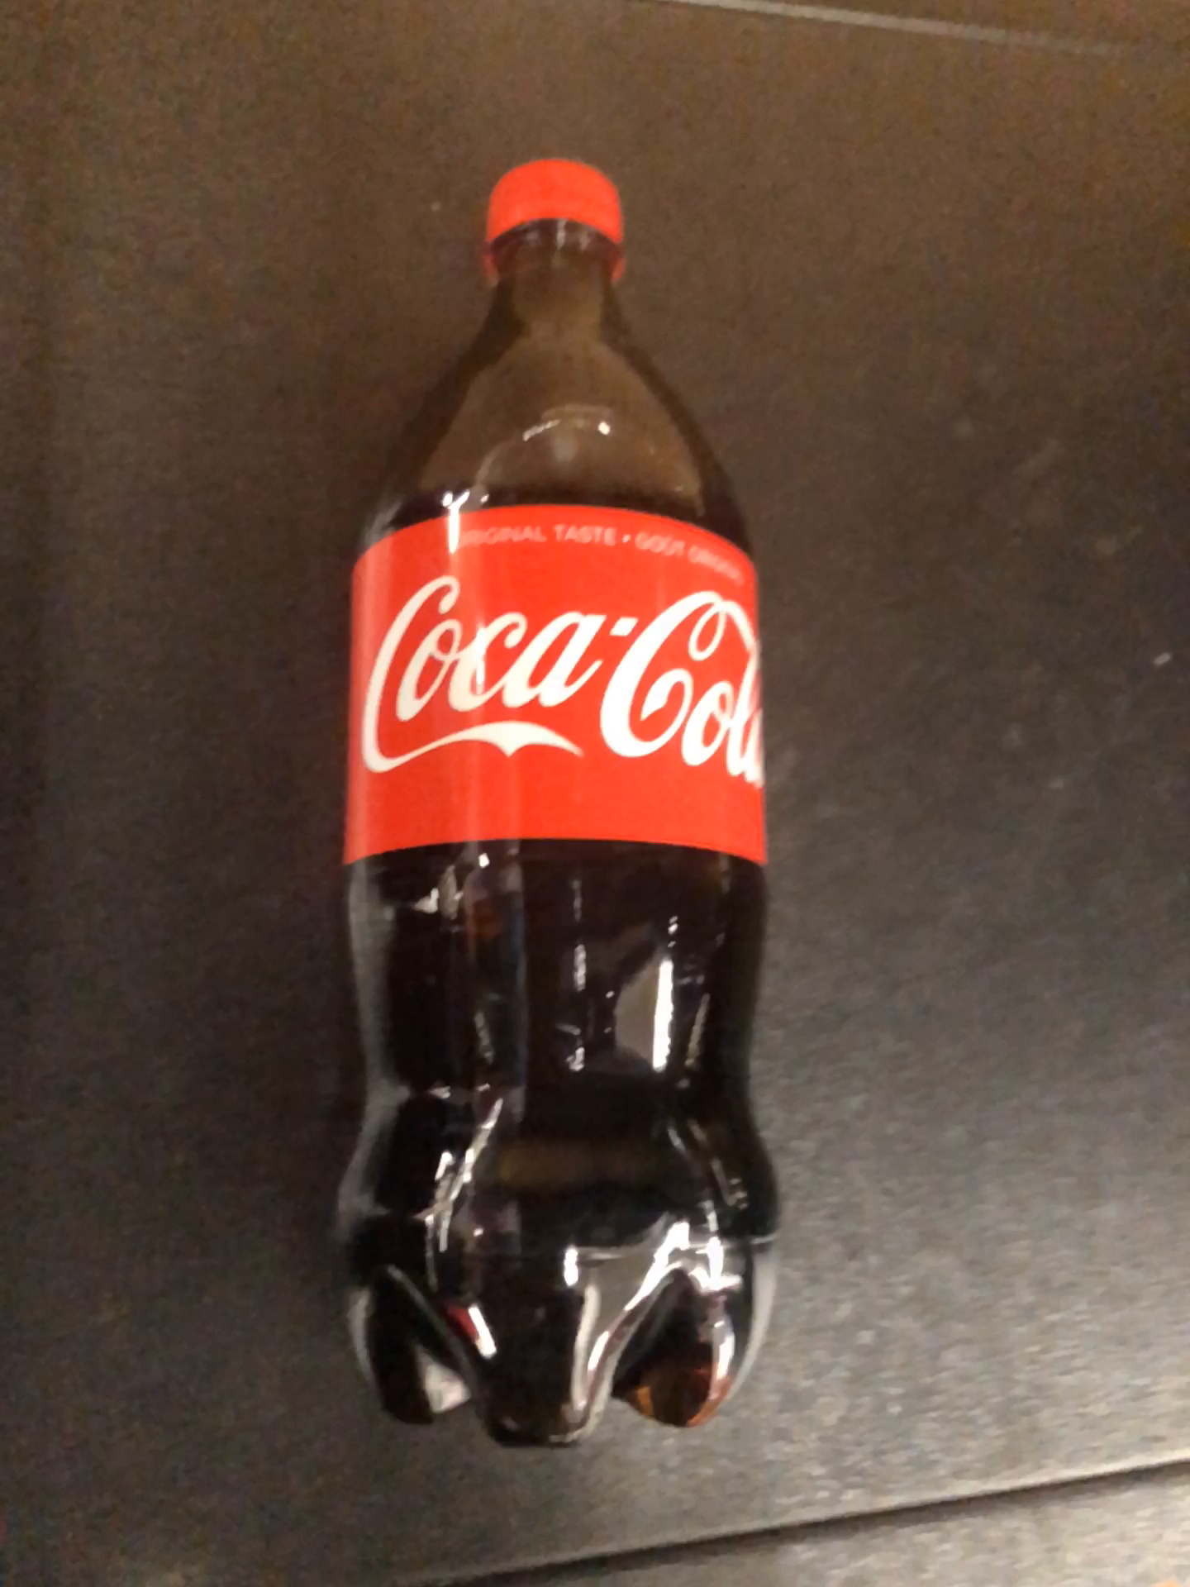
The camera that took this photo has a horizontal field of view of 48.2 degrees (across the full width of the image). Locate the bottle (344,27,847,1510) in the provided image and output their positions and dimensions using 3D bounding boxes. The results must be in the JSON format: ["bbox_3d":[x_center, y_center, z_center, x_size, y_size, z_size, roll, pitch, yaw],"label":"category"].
[{"bbox_3d":[-0.007,-0.010,0.275,0.080,0.080,0.260,2,79,-12],"label":"bottle"}]
